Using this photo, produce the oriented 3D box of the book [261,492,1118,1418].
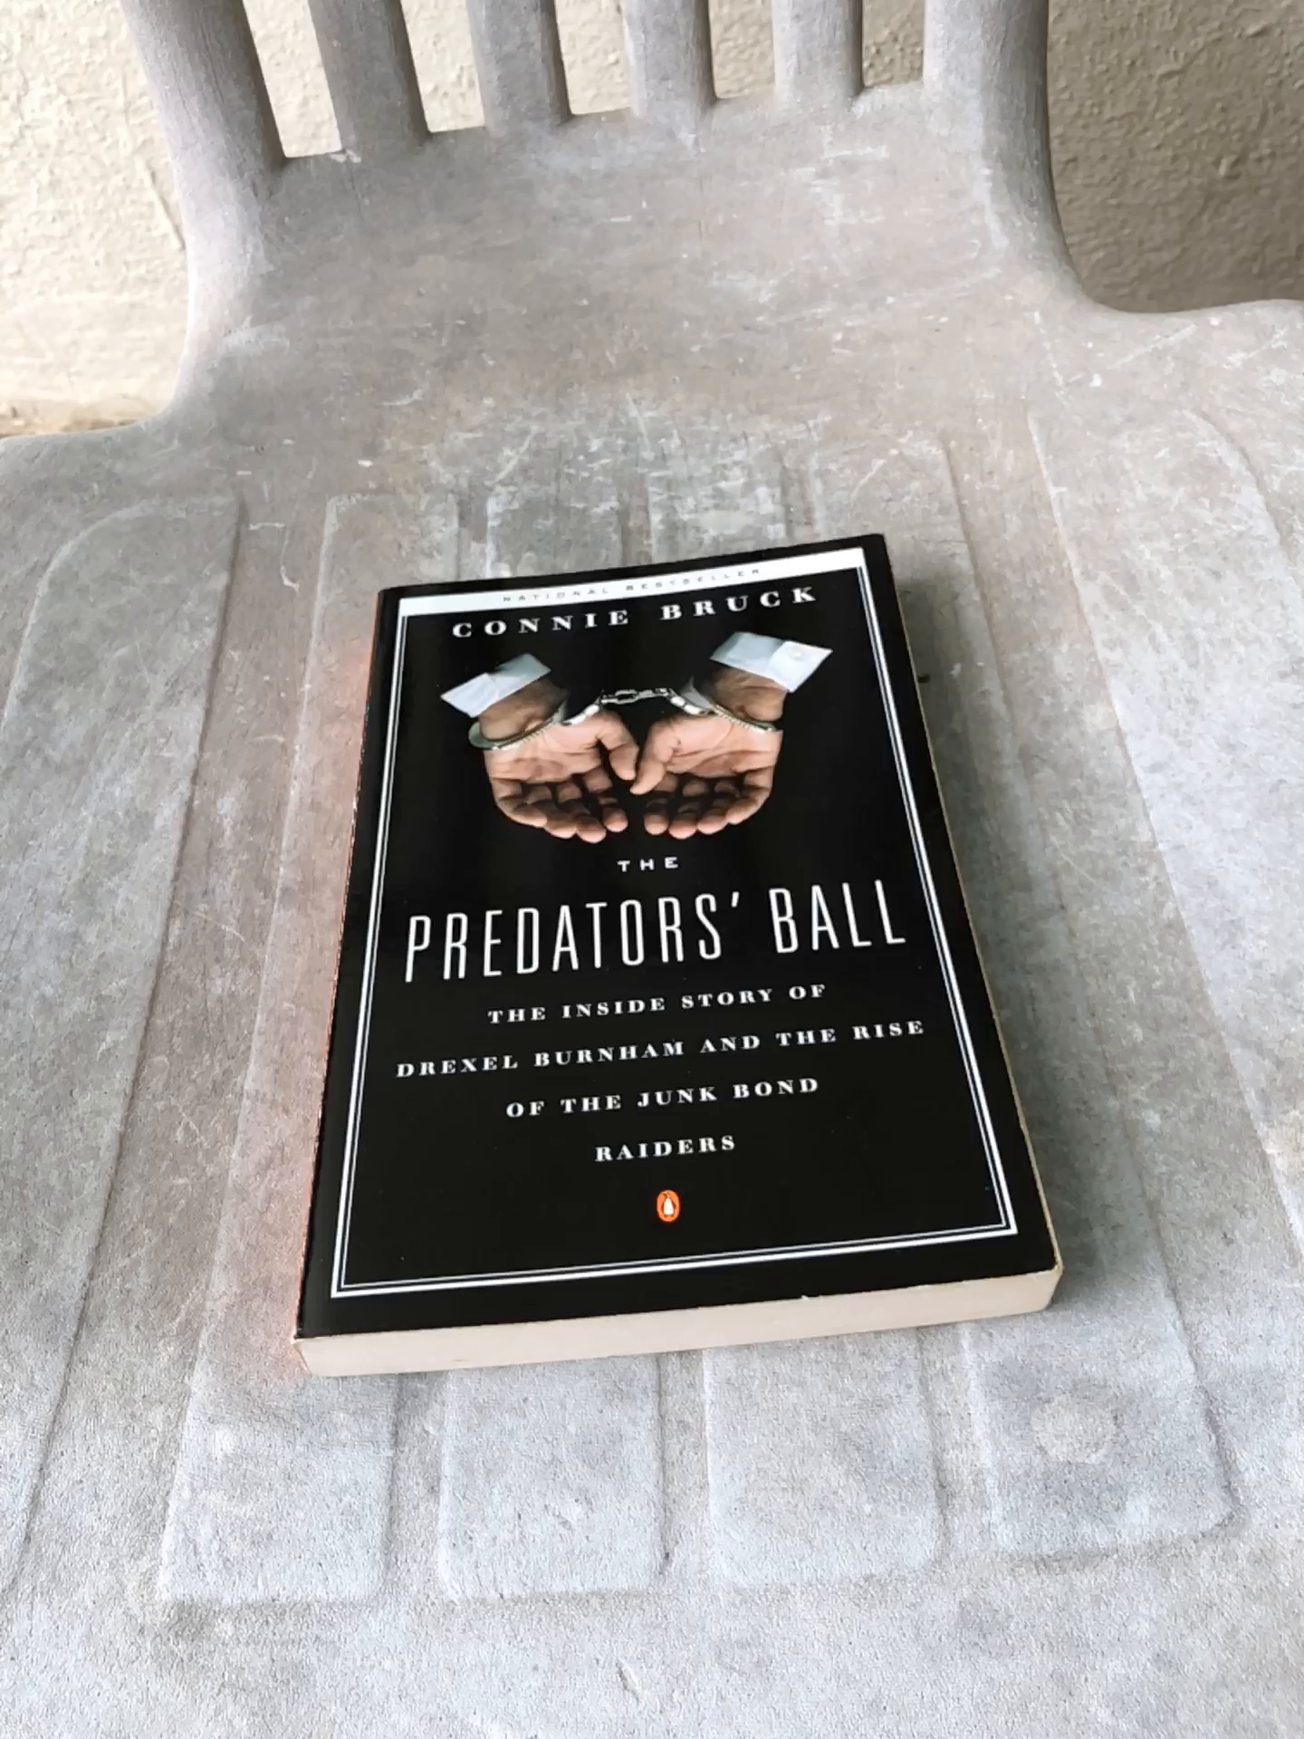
[{"bbox_3d":[0.002,0.002,0.316,0.140,0.030,0.211,-6,50,3],"label":"book"}]
